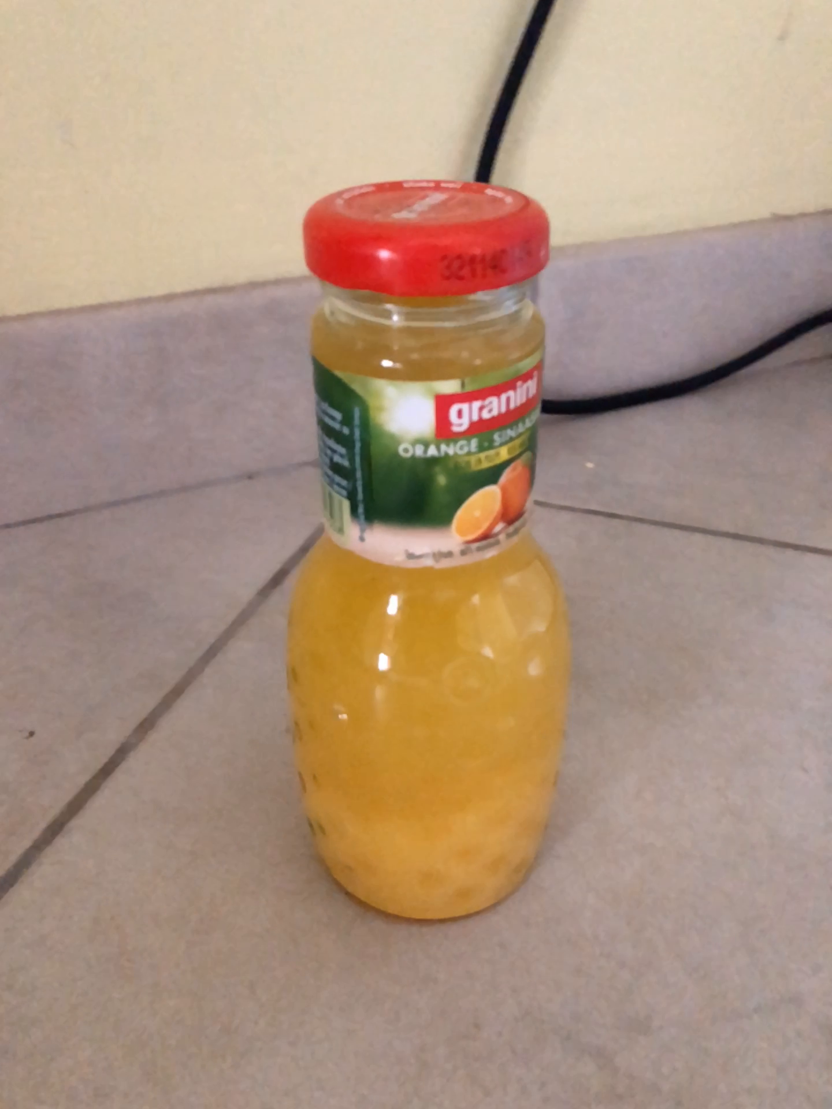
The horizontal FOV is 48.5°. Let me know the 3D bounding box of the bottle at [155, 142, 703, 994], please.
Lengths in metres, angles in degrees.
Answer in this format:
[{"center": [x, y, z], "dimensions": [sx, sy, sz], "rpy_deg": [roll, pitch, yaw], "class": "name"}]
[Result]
[{"center": [0.002, 0.005, 0.198], "dimensions": [0.070, 0.159, 0.060], "rpy_deg": [-23, 39, -31], "class": "bottle"}]
